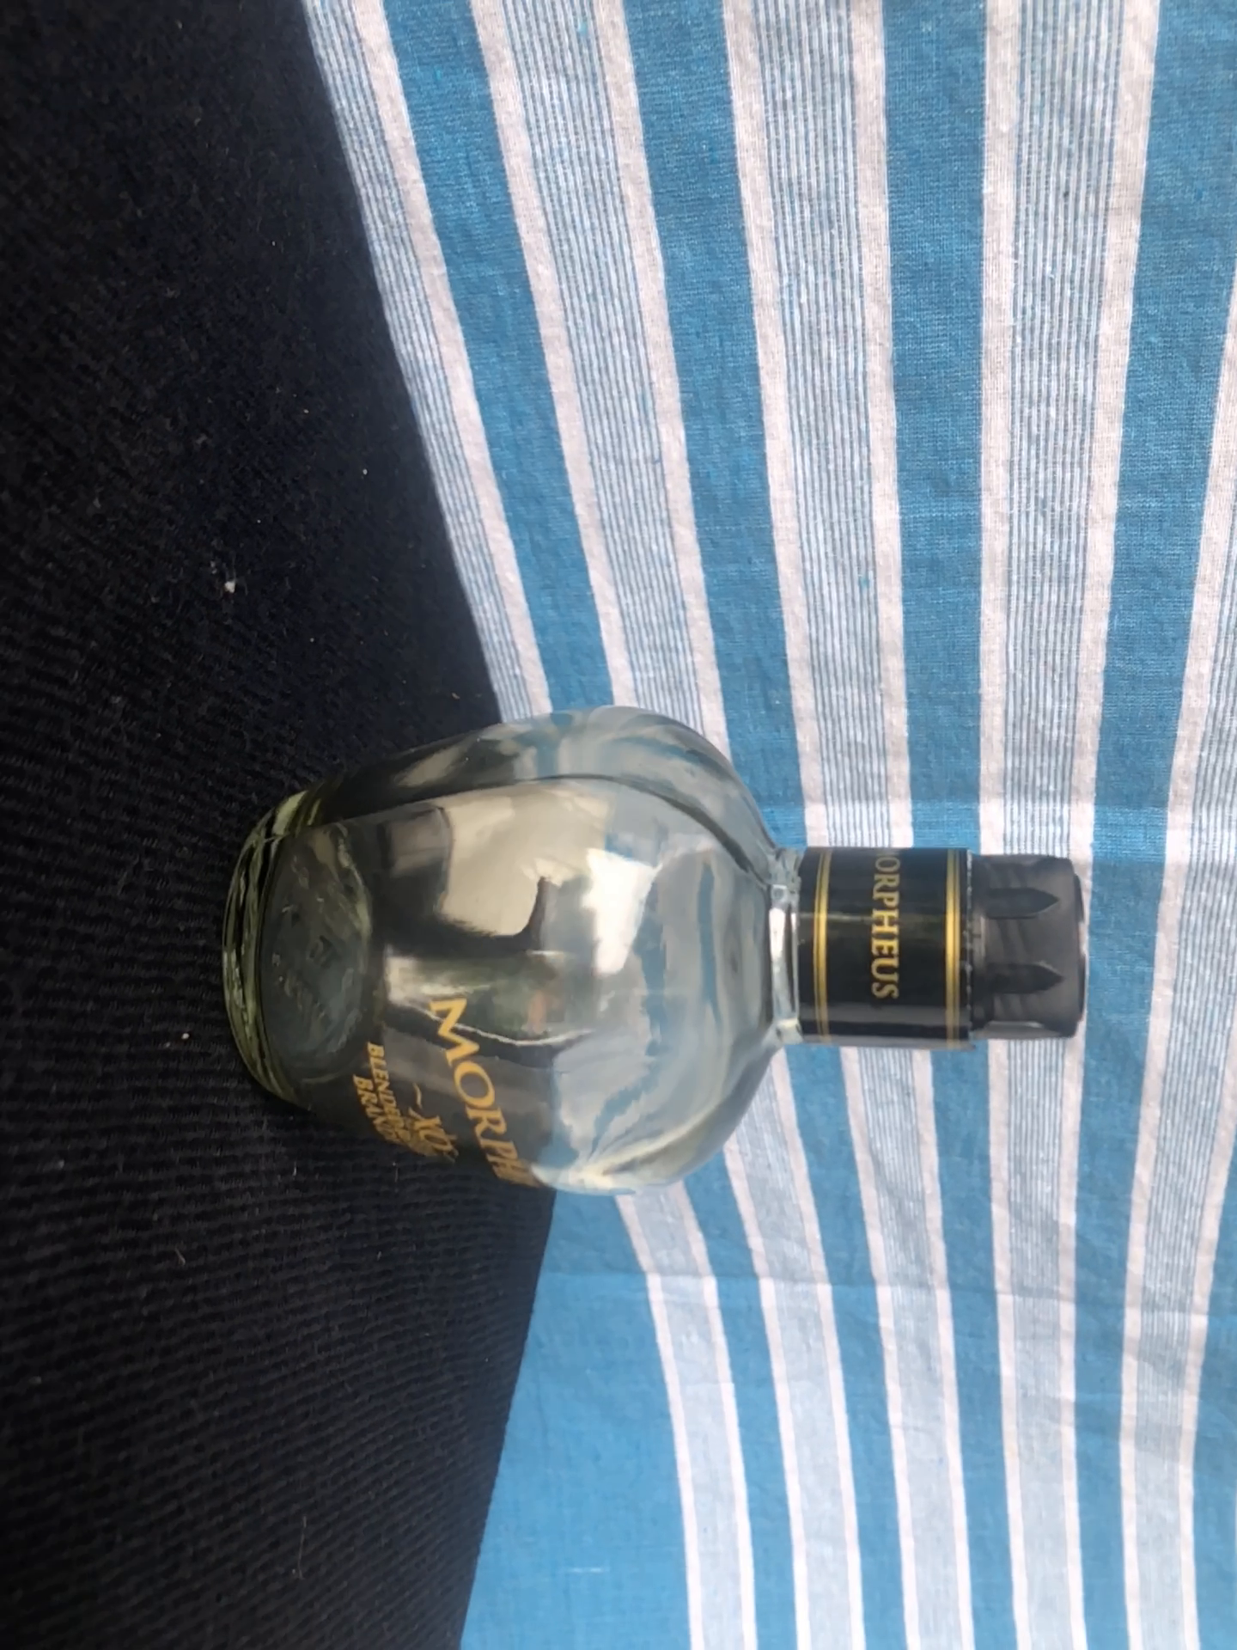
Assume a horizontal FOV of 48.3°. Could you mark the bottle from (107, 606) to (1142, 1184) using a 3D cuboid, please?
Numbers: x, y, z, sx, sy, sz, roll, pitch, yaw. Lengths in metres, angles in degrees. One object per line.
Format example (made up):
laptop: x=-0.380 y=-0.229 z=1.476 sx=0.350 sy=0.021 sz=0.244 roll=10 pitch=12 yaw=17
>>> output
bottle: x=0.006 y=0.010 z=0.210 sx=0.070 sy=0.129 sz=0.050 roll=75 pitch=21 yaw=-50
